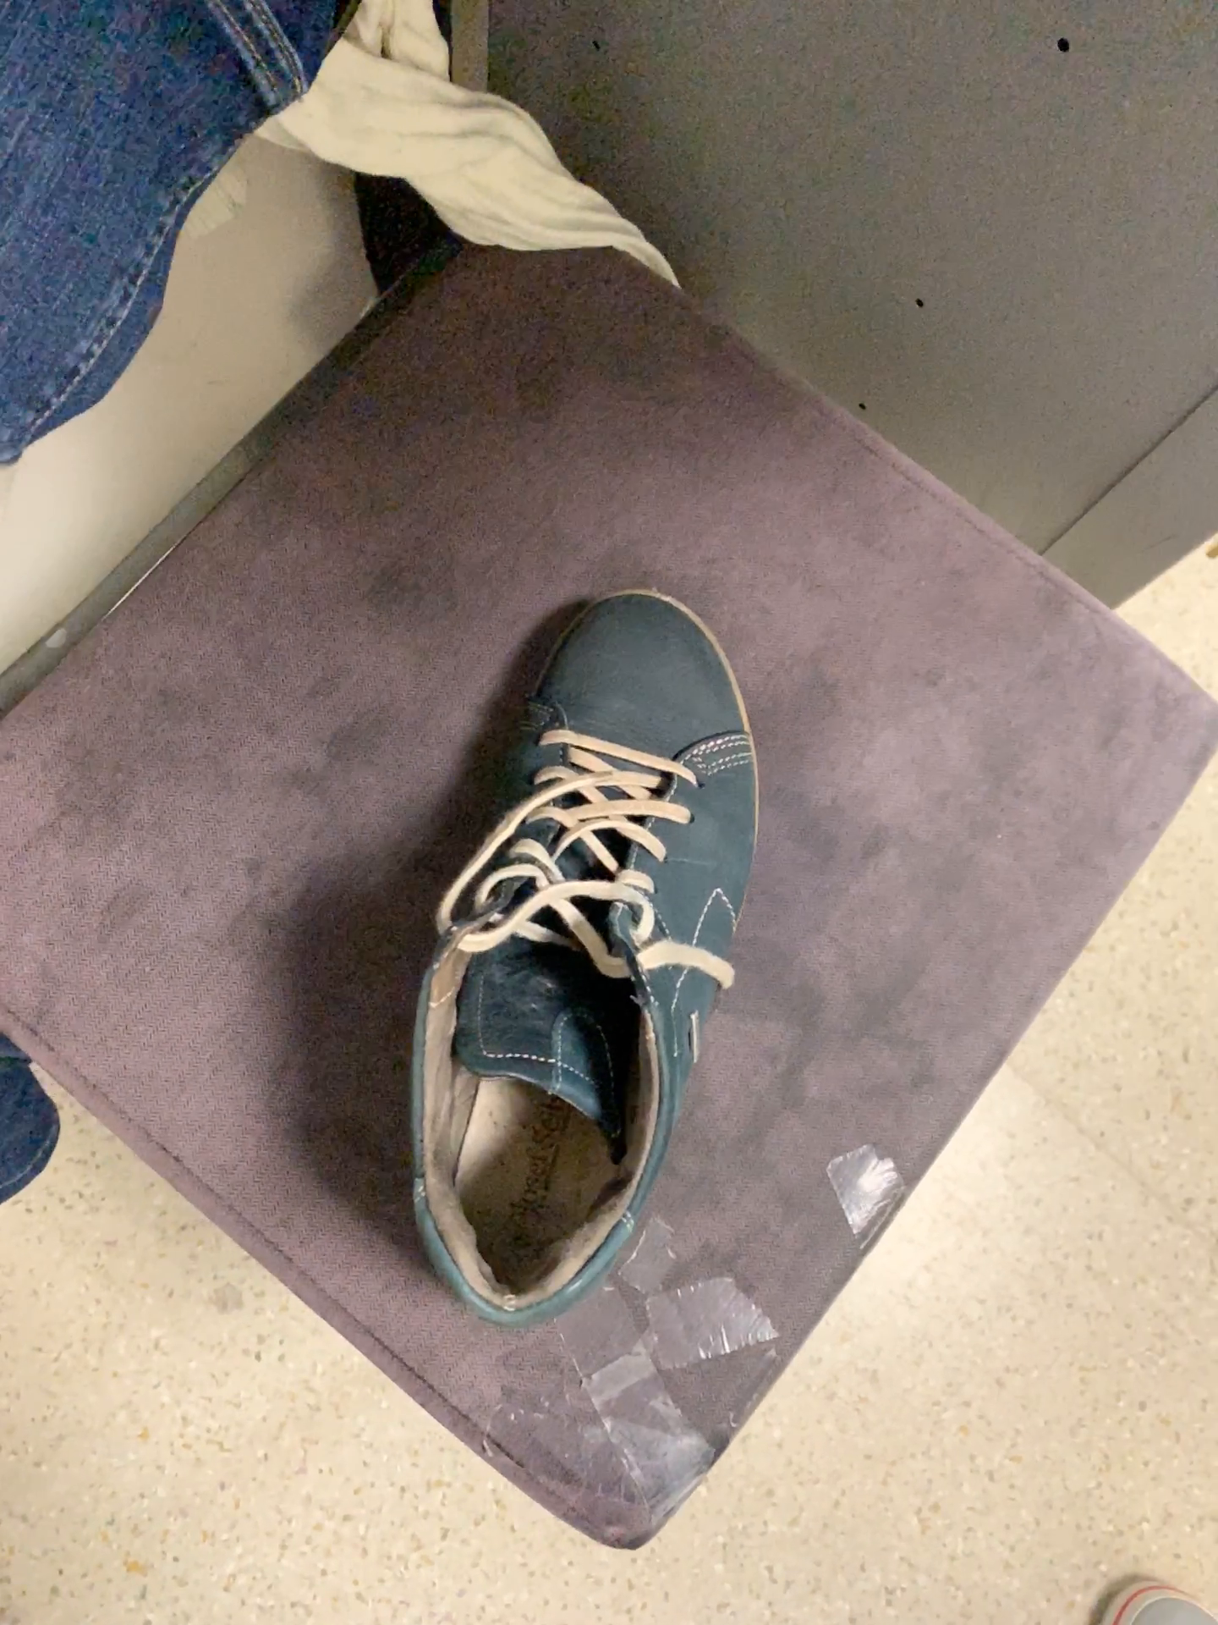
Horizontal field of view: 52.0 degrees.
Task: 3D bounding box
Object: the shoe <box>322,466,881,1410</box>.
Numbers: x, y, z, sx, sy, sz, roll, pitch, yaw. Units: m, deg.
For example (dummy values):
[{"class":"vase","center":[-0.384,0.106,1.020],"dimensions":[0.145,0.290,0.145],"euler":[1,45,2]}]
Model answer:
[{"class":"shoe","center":[-0.001,0.040,0.416],"dimensions":[0.103,0.143,0.245],"euler":[14,77,-2]}]
